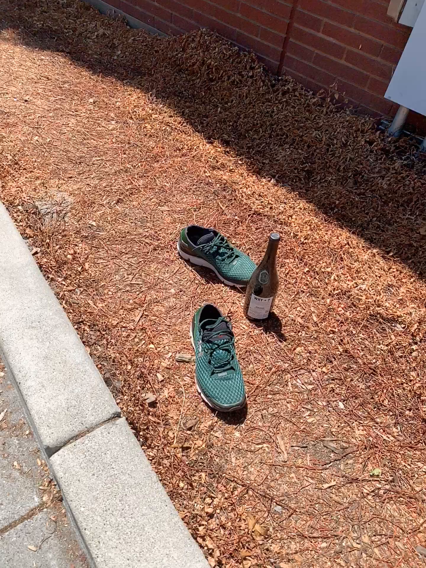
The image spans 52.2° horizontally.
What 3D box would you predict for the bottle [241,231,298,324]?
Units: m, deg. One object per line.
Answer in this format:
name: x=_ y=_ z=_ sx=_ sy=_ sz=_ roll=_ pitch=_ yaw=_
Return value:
bottle: x=0.142 y=-0.010 z=1.155 sx=0.090 sy=0.259 sz=0.090 roll=5 pitch=49 yaw=-6
